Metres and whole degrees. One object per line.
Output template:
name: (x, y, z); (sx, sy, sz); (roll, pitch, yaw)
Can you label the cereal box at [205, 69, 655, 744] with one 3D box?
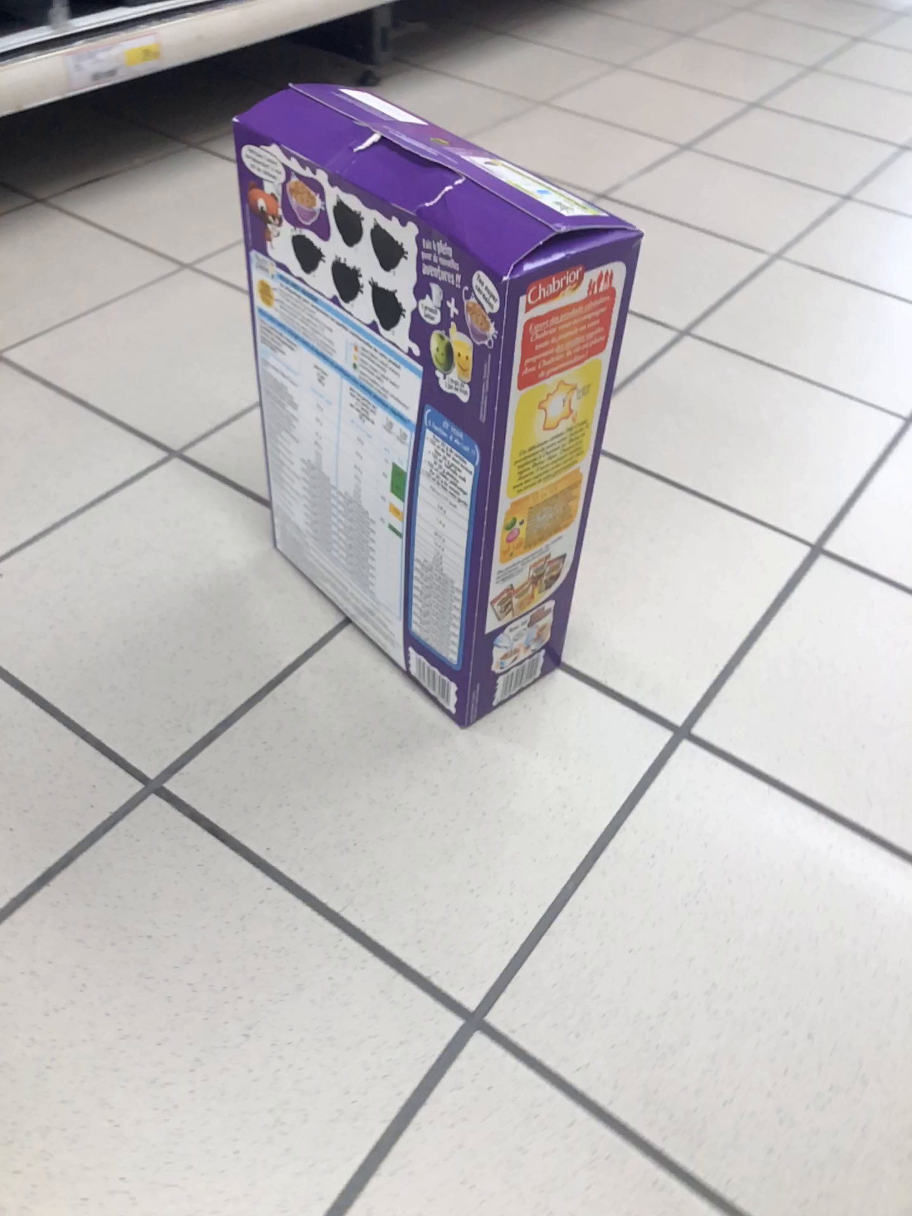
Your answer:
cereal box: (-0.027, -0.097, 0.516); (0.080, 0.268, 0.200); (-29, 53, -31)
